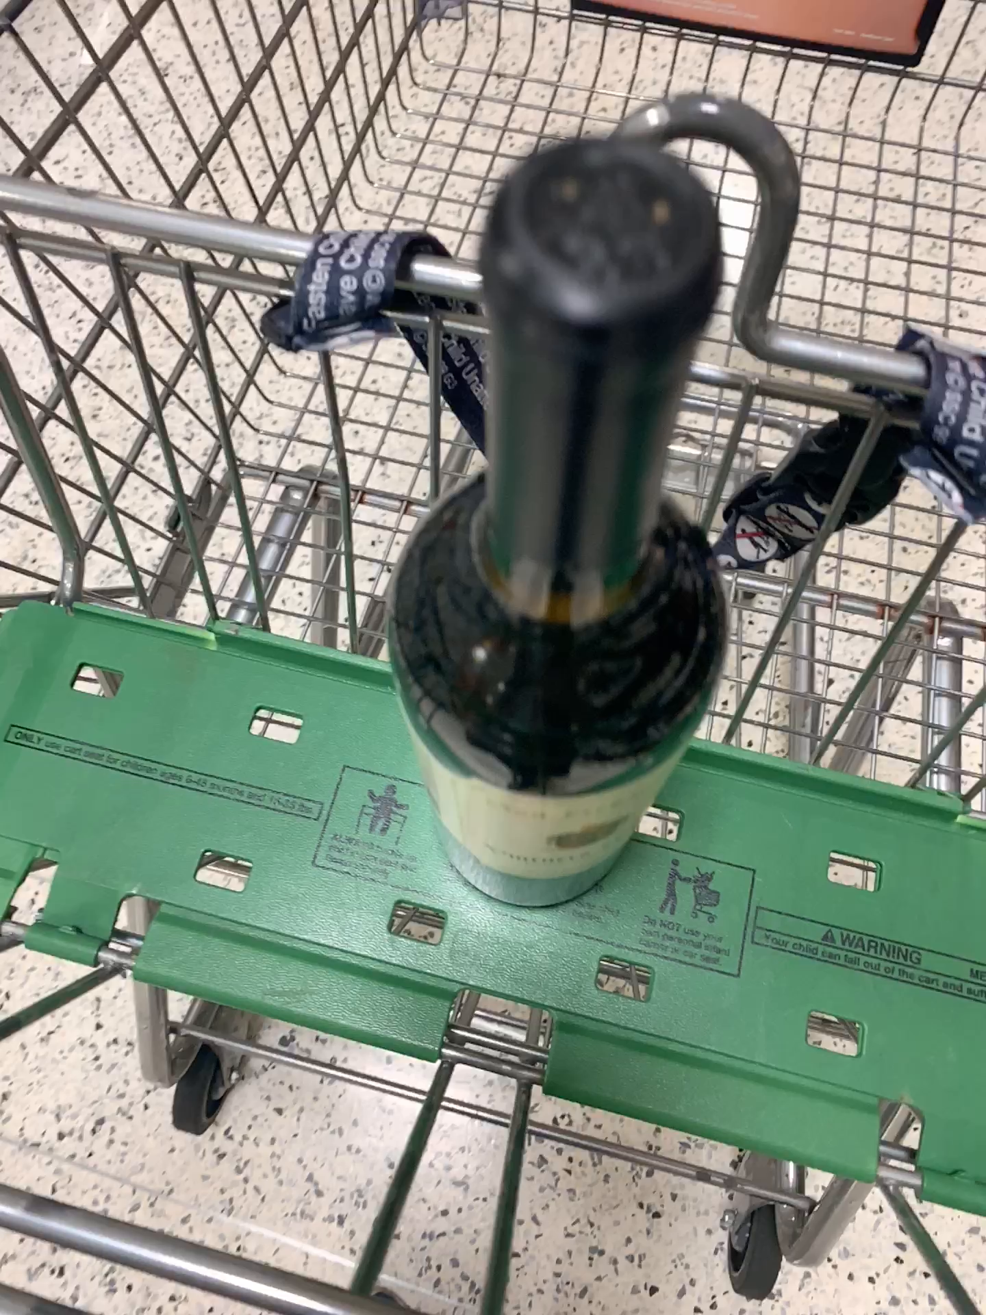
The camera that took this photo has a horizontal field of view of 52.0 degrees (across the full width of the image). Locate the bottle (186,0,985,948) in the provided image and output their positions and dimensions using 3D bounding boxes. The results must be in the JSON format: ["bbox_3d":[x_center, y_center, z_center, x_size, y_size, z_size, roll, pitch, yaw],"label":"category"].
[{"bbox_3d":[0.013,0.010,0.251,0.080,0.309,0.070,-13,69,-5],"label":"bottle"}]
